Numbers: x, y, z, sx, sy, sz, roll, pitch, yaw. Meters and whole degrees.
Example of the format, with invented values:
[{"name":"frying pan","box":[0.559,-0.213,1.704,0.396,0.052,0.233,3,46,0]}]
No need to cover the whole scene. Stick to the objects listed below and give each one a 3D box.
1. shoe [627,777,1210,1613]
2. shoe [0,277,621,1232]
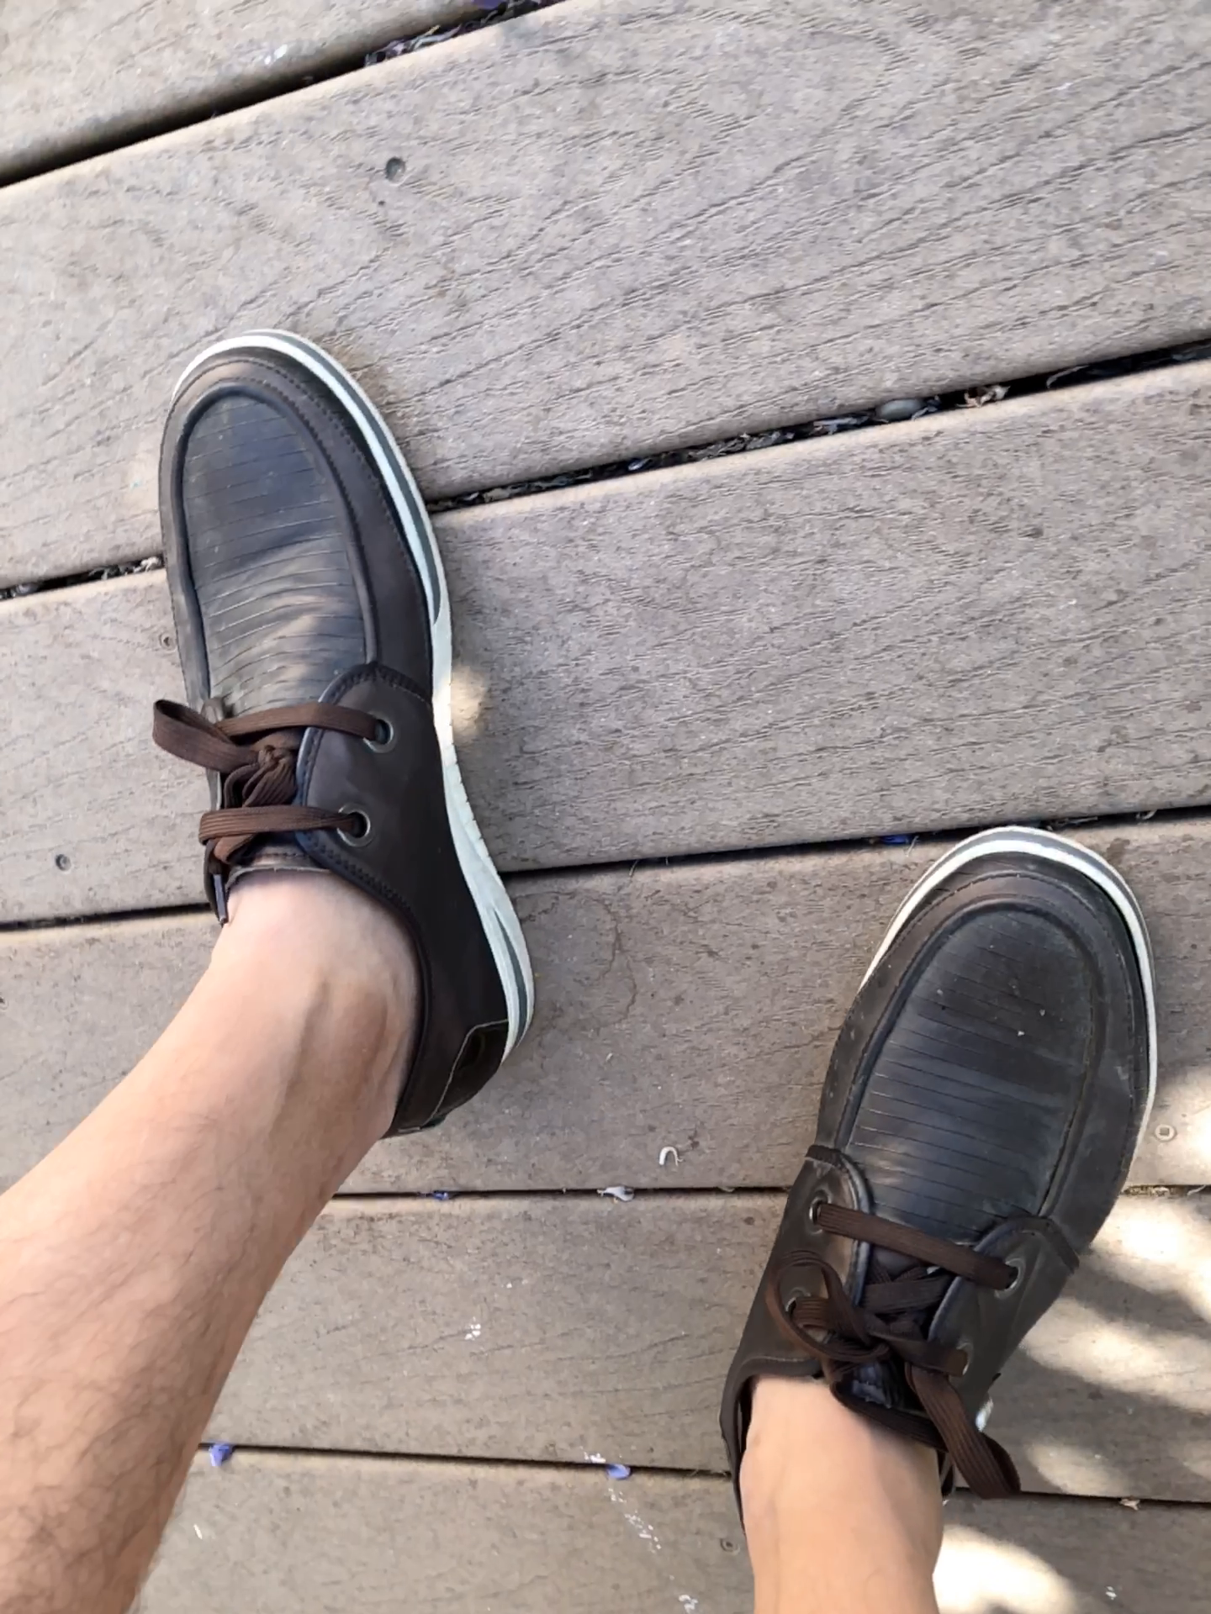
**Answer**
[{"name":"shoe","box":[0.105,0.145,0.432,0.104,0.089,0.277,21,113,10]},{"name":"shoe","box":[-0.096,-0.012,0.445,0.104,0.096,0.283,-13,104,20]}]
